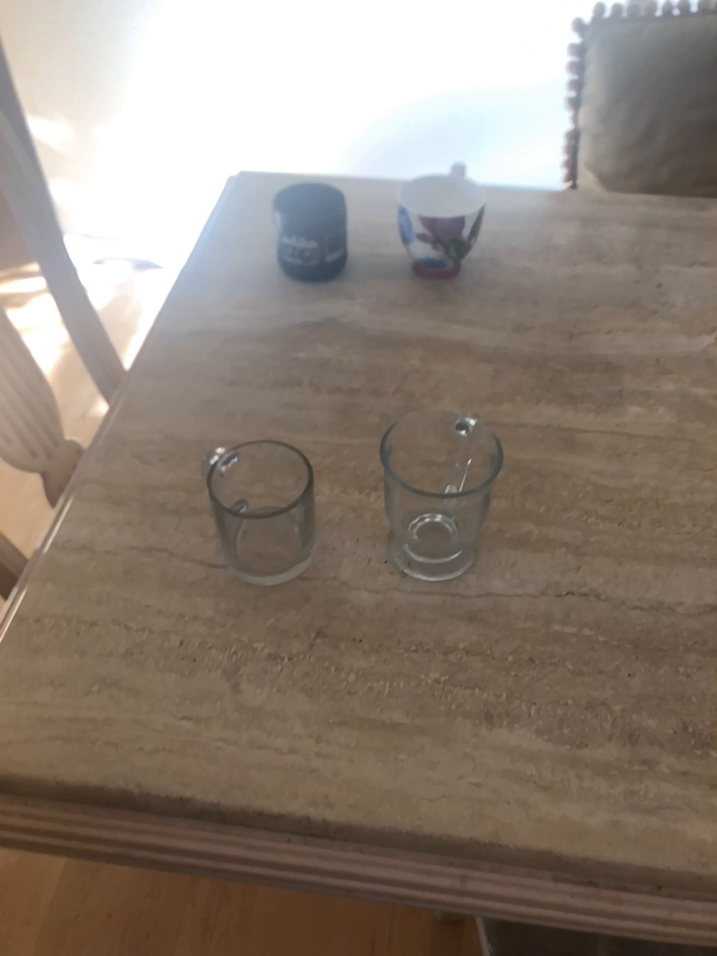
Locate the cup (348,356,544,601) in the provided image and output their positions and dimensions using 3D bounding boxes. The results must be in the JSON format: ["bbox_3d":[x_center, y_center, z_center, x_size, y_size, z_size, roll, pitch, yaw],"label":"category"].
[{"bbox_3d":[0.074,-0.003,0.674,0.110,0.109,0.151,19,50,17],"label":"cup"}]

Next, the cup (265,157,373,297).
[{"bbox_3d":[-0.045,-0.320,1.011,0.090,0.109,0.131,14,48,14],"label":"cup"}]

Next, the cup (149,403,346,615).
[{"bbox_3d":[-0.091,0.025,0.689,0.130,0.109,0.091,27,52,24],"label":"cup"}]

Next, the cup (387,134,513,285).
[{"bbox_3d":[0.114,-0.339,0.996,0.100,0.099,0.171,17,49,16],"label":"cup"}]
